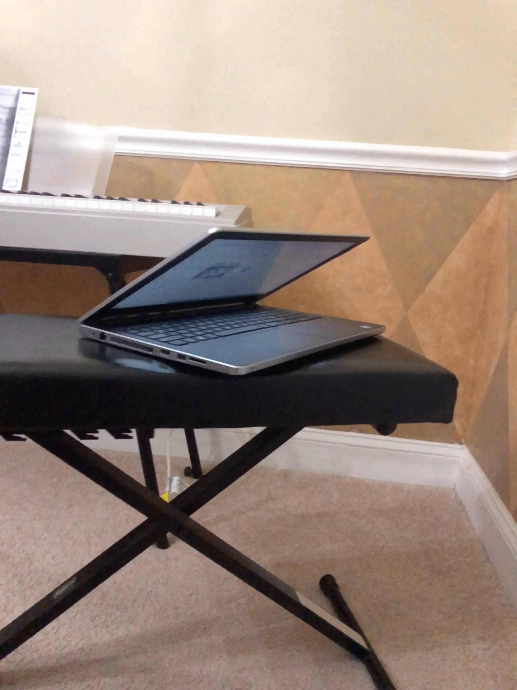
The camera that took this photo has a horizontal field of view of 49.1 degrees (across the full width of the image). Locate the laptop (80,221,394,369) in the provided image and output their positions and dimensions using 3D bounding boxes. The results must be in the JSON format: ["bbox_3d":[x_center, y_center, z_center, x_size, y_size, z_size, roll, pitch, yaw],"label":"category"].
[{"bbox_3d":[-0.013,-0.092,0.813,0.261,0.137,0.376,13,16,34],"label":"laptop"}]
